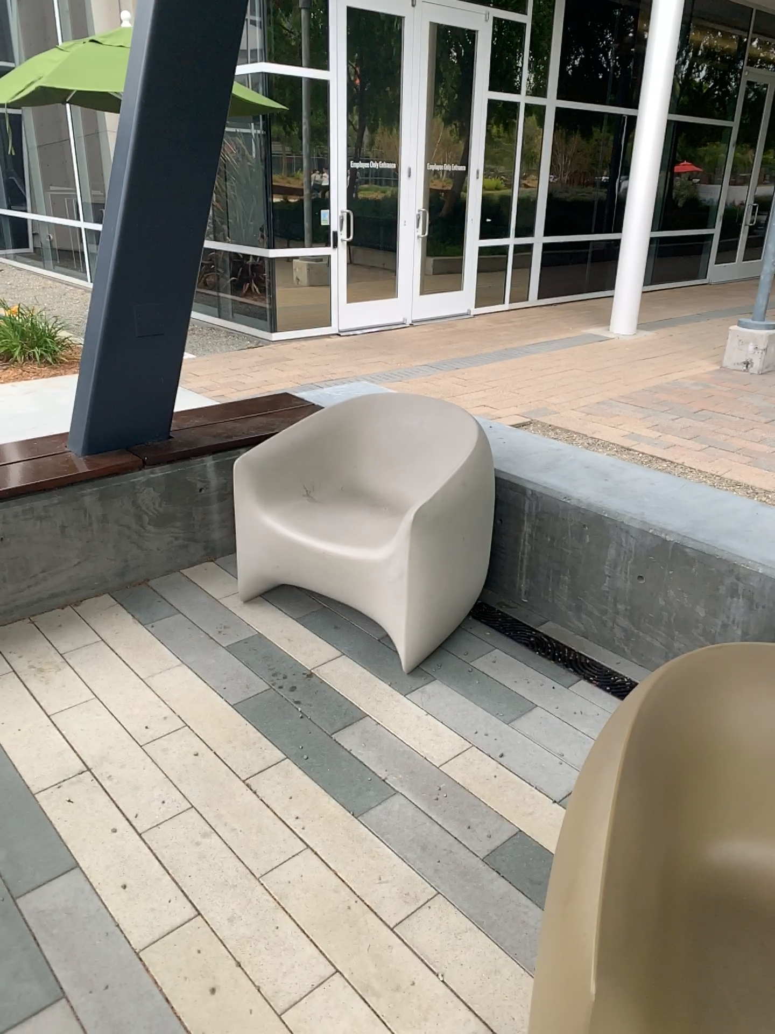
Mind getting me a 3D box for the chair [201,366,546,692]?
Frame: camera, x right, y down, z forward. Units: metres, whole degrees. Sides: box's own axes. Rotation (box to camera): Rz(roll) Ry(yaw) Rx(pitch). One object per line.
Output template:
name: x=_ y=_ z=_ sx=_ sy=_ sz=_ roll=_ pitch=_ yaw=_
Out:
chair: x=-0.051 y=-0.037 z=3.211 sx=0.983 sy=0.785 sz=0.923 roll=19 pitch=31 yaw=28
